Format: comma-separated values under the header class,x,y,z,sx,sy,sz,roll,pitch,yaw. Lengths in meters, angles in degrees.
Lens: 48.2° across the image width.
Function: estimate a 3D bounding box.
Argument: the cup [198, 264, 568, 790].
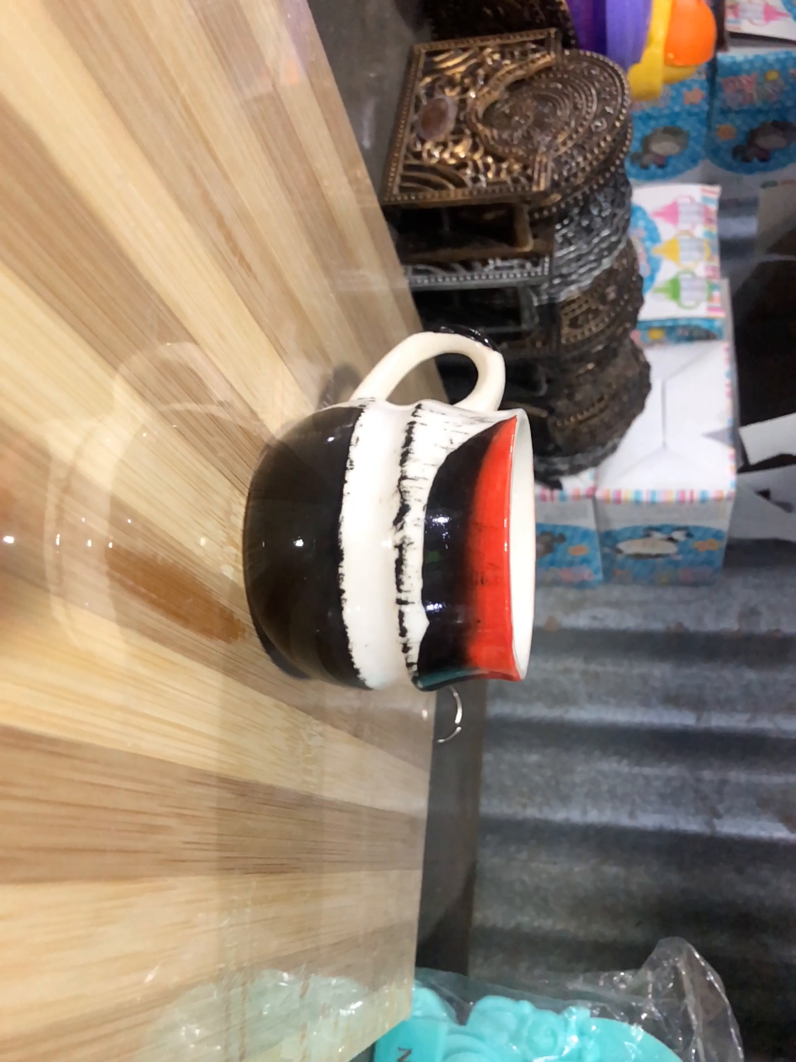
class,x,y,z,sx,sy,sz,roll,pitch,yaw
cup,0.007,0.000,0.209,0.080,0.060,0.090,75,21,-53
